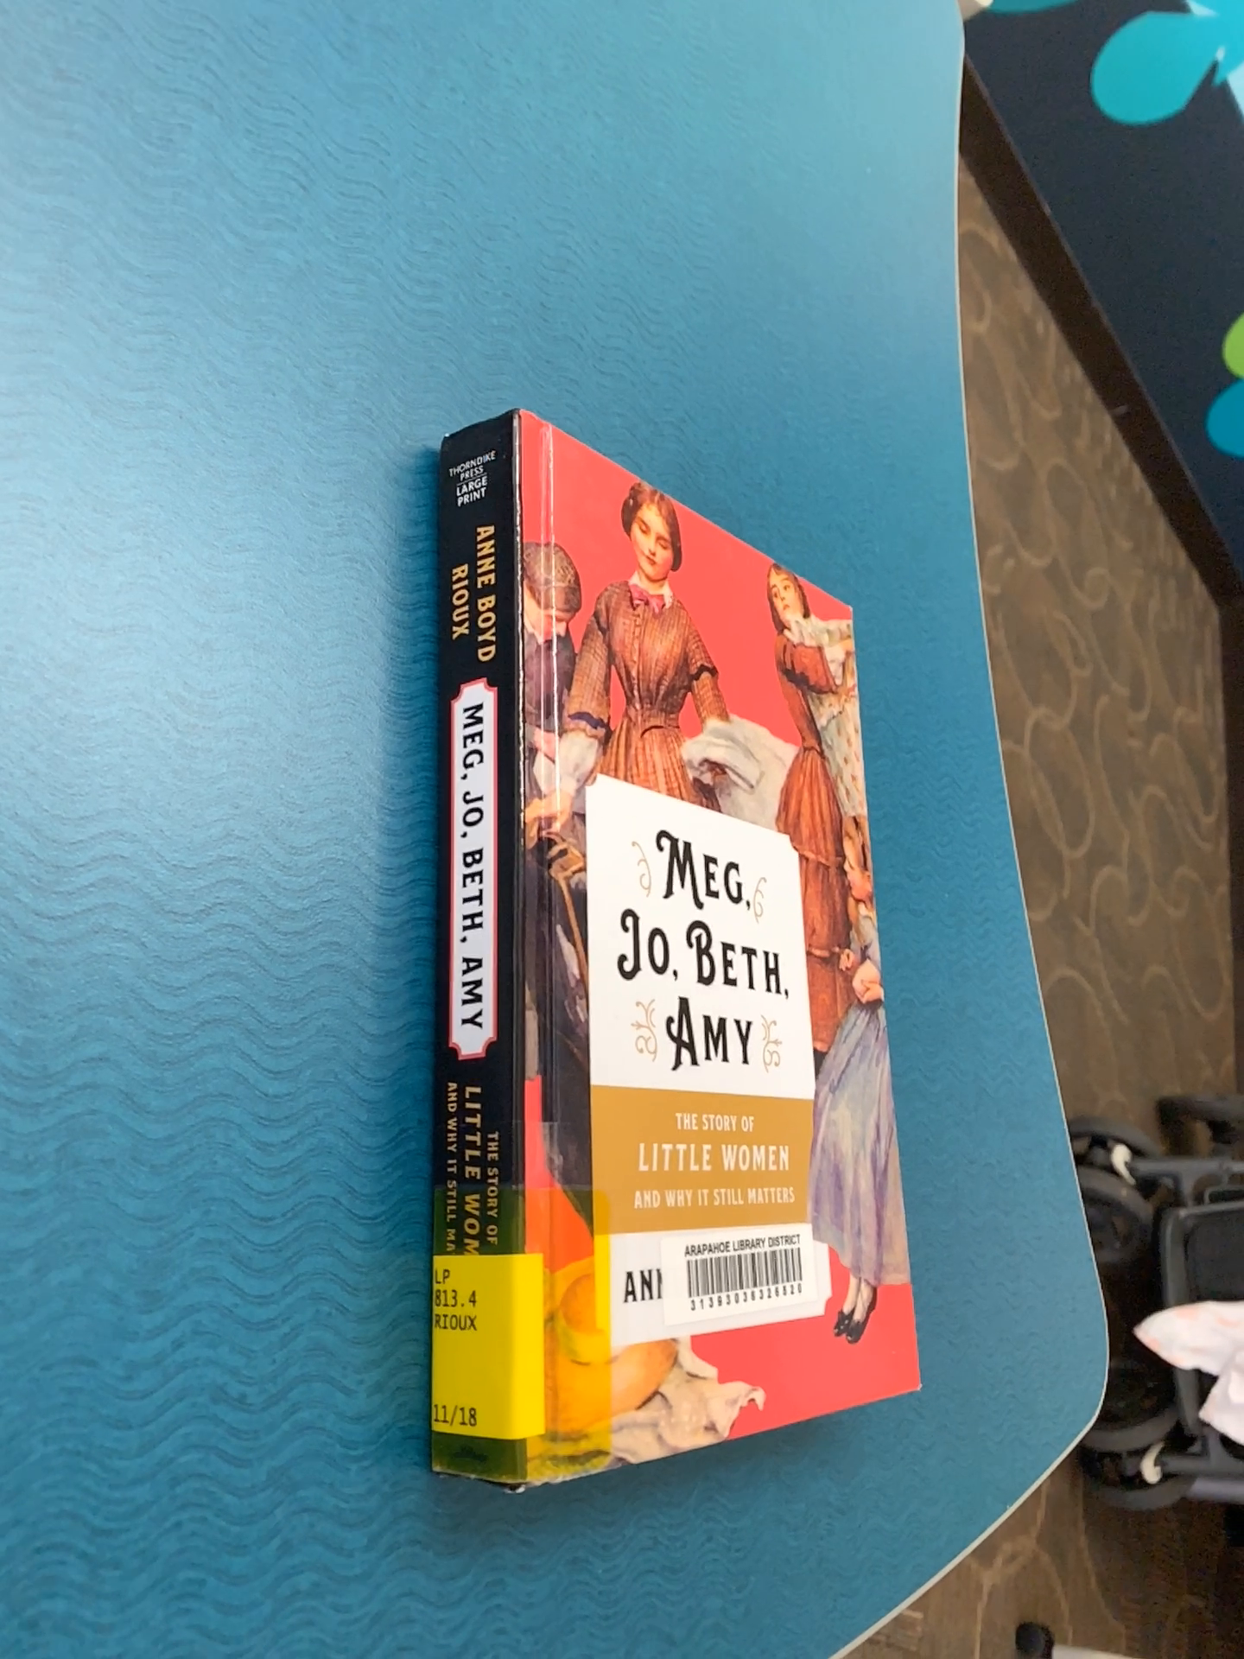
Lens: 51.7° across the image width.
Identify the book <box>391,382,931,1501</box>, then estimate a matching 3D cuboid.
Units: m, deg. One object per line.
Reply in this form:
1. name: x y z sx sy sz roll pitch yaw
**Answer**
1. book: 0.015 0.026 0.314 0.141 0.040 0.220 15 68 -47
